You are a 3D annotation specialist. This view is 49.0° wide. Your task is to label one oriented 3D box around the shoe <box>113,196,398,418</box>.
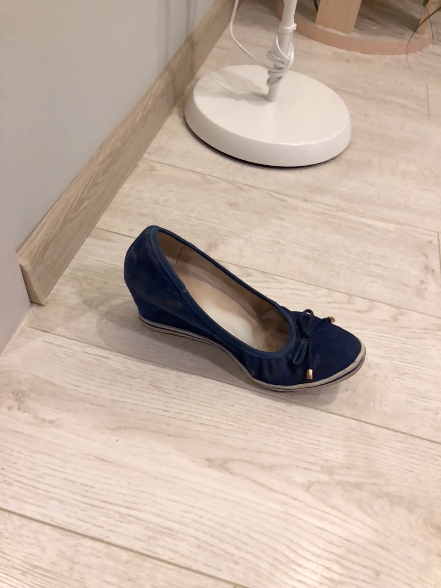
[{"bbox_3d":[0.030,0.010,0.457,0.230,0.109,0.099,17,48,8],"label":"shoe"}]
